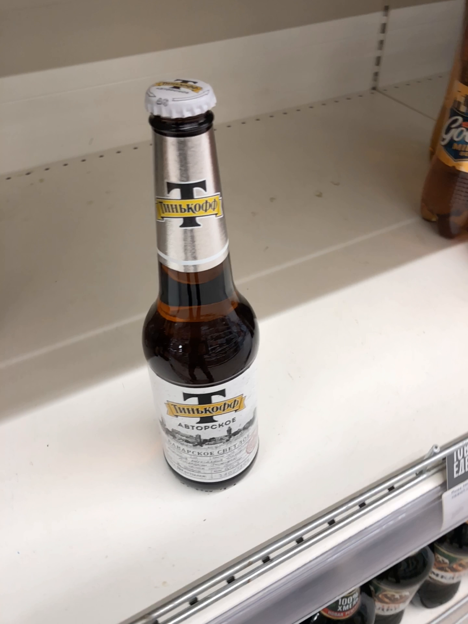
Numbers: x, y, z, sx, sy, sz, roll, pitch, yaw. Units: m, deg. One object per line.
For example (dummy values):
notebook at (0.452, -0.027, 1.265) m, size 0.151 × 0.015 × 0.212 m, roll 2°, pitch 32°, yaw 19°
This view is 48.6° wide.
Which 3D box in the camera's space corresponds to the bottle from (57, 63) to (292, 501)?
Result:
bottle at (-0.020, 0.007, 0.287) m, size 0.080 × 0.249 × 0.070 m, roll -4°, pitch 42°, yaw -3°
